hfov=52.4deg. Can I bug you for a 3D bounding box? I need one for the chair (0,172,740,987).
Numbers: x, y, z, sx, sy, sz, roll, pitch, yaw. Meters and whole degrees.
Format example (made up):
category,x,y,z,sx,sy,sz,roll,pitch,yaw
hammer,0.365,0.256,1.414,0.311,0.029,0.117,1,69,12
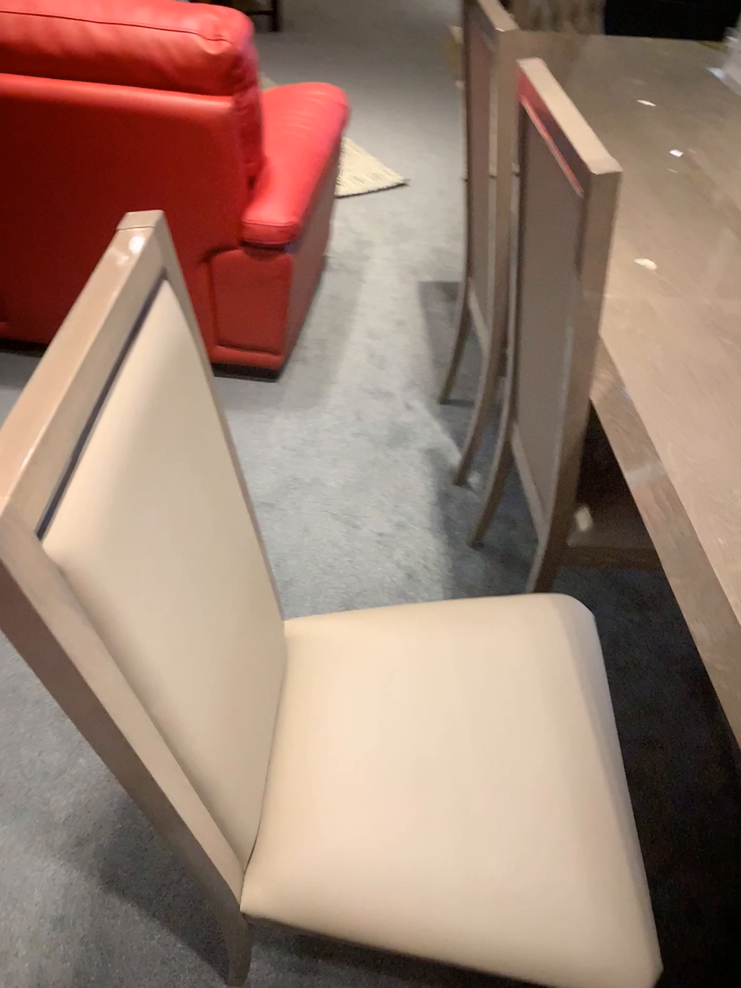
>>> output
category,x,y,z,sx,sy,sz,roll,pitch,yaw
chair,0.048,0.238,0.849,0.581,0.977,0.503,3,44,3
